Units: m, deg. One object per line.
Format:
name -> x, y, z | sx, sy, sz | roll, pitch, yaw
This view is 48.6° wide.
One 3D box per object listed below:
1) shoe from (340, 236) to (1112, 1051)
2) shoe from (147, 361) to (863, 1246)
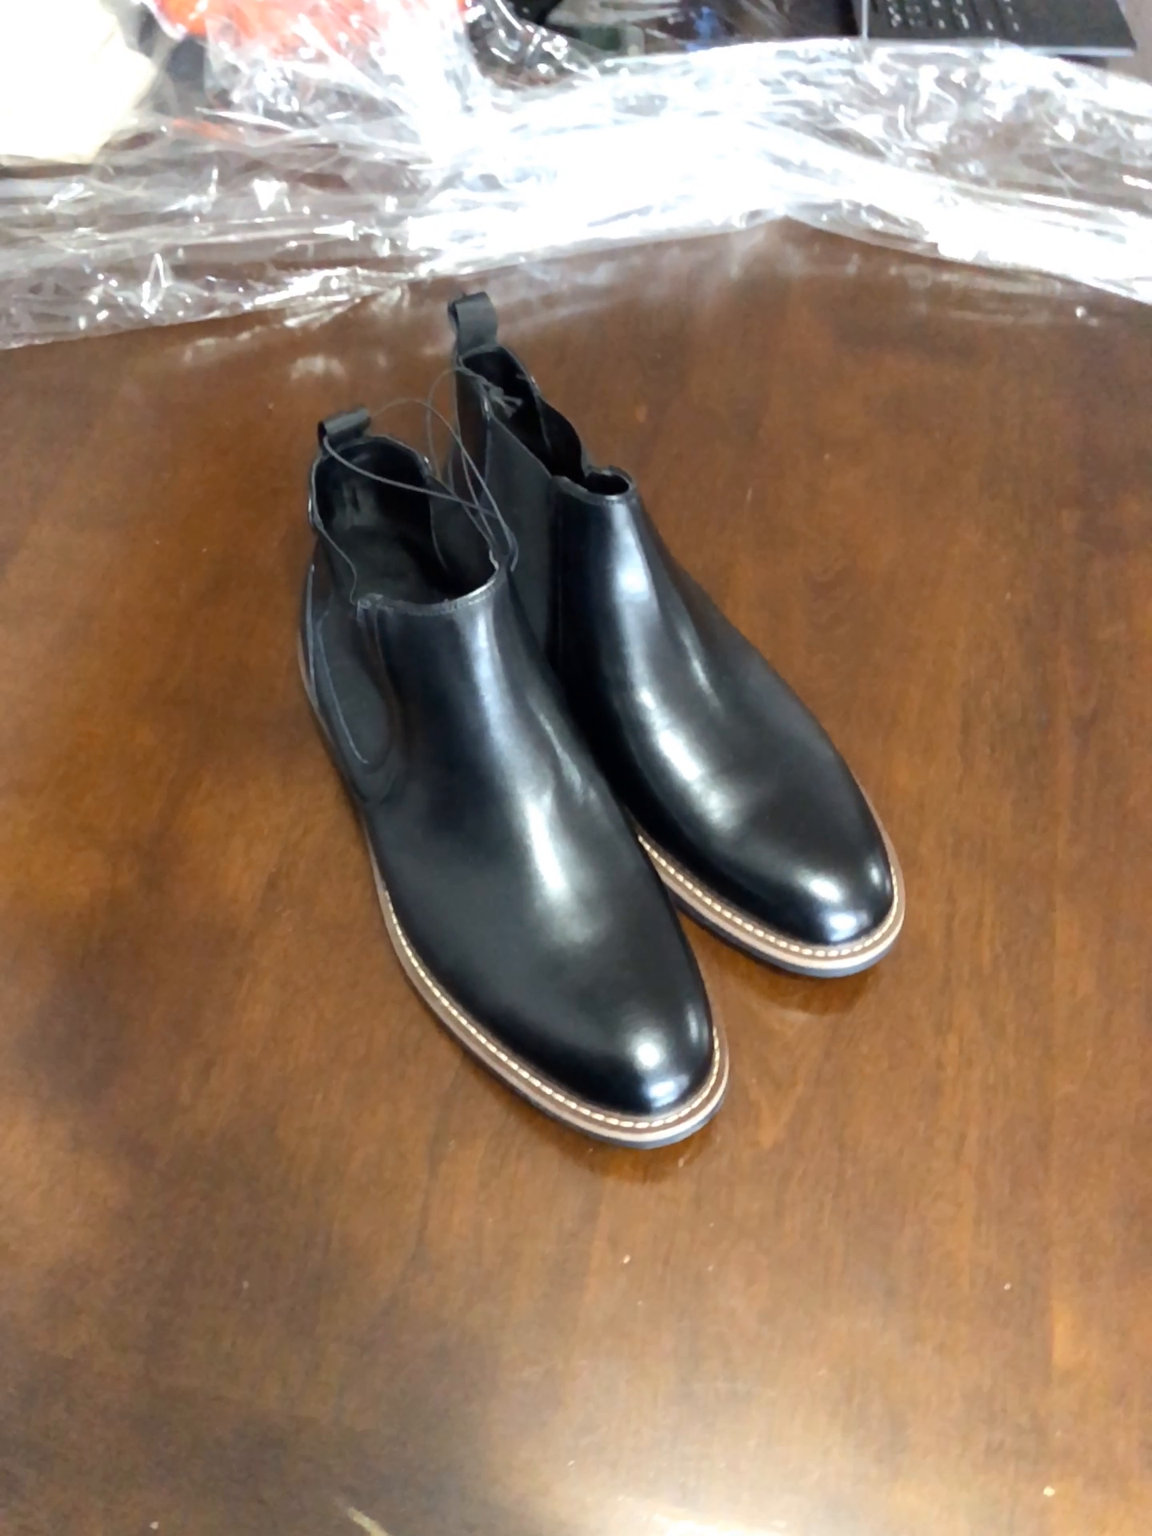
shoe -> 0.043, -0.057, 0.550 | 0.120, 0.170, 0.300 | -33, 64, -20
shoe -> -0.040, 0.010, 0.521 | 0.120, 0.170, 0.300 | -27, 62, -16
